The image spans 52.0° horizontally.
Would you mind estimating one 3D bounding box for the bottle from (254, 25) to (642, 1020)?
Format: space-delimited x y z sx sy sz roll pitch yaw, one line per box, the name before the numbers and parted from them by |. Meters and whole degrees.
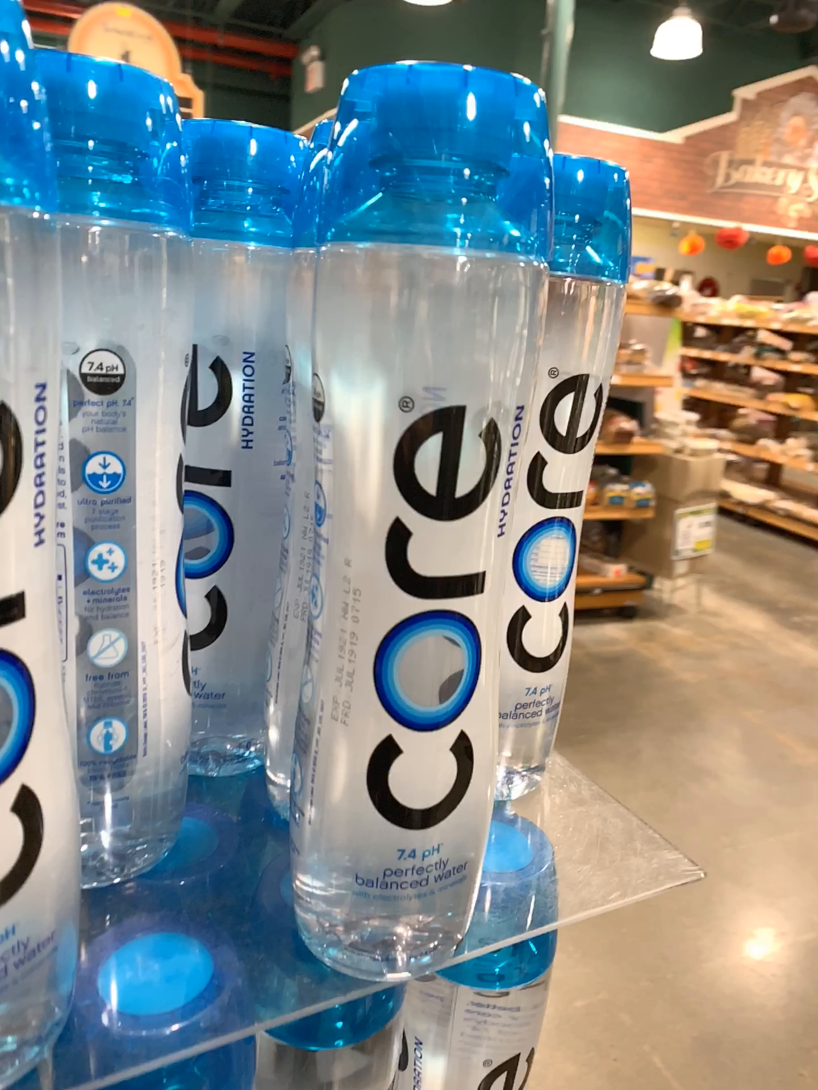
bottle | -0.001 0.002 0.290 0.080 0.289 0.090 -1 16 -20
